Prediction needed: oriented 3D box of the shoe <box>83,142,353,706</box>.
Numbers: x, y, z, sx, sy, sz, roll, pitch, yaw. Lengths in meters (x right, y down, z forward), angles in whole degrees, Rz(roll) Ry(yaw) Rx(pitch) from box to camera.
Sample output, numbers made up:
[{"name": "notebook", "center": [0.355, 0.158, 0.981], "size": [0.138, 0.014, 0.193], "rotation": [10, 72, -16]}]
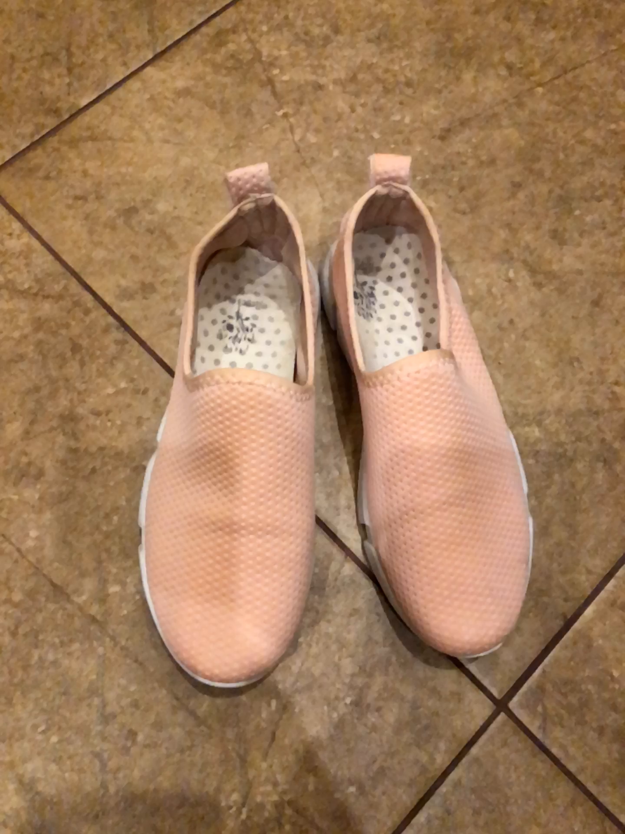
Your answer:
[{"name": "shoe", "center": [-0.035, 0.006, 0.344], "size": [0.090, 0.120, 0.240], "rotation": [3, 72, -2]}]

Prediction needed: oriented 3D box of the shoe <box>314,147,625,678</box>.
[{"name": "shoe", "center": [0.064, -0.001, 0.344], "size": [0.090, 0.100, 0.230], "rotation": [-7, 73, -5]}]
